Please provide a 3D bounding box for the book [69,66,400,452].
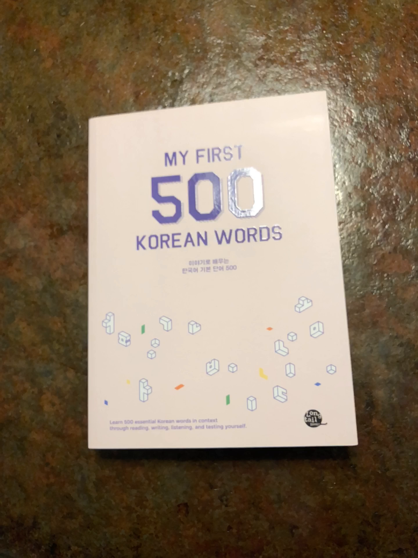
[{"bbox_3d":[0.008,-0.013,0.300,0.190,0.030,0.230,-3,80,7],"label":"book"}]
